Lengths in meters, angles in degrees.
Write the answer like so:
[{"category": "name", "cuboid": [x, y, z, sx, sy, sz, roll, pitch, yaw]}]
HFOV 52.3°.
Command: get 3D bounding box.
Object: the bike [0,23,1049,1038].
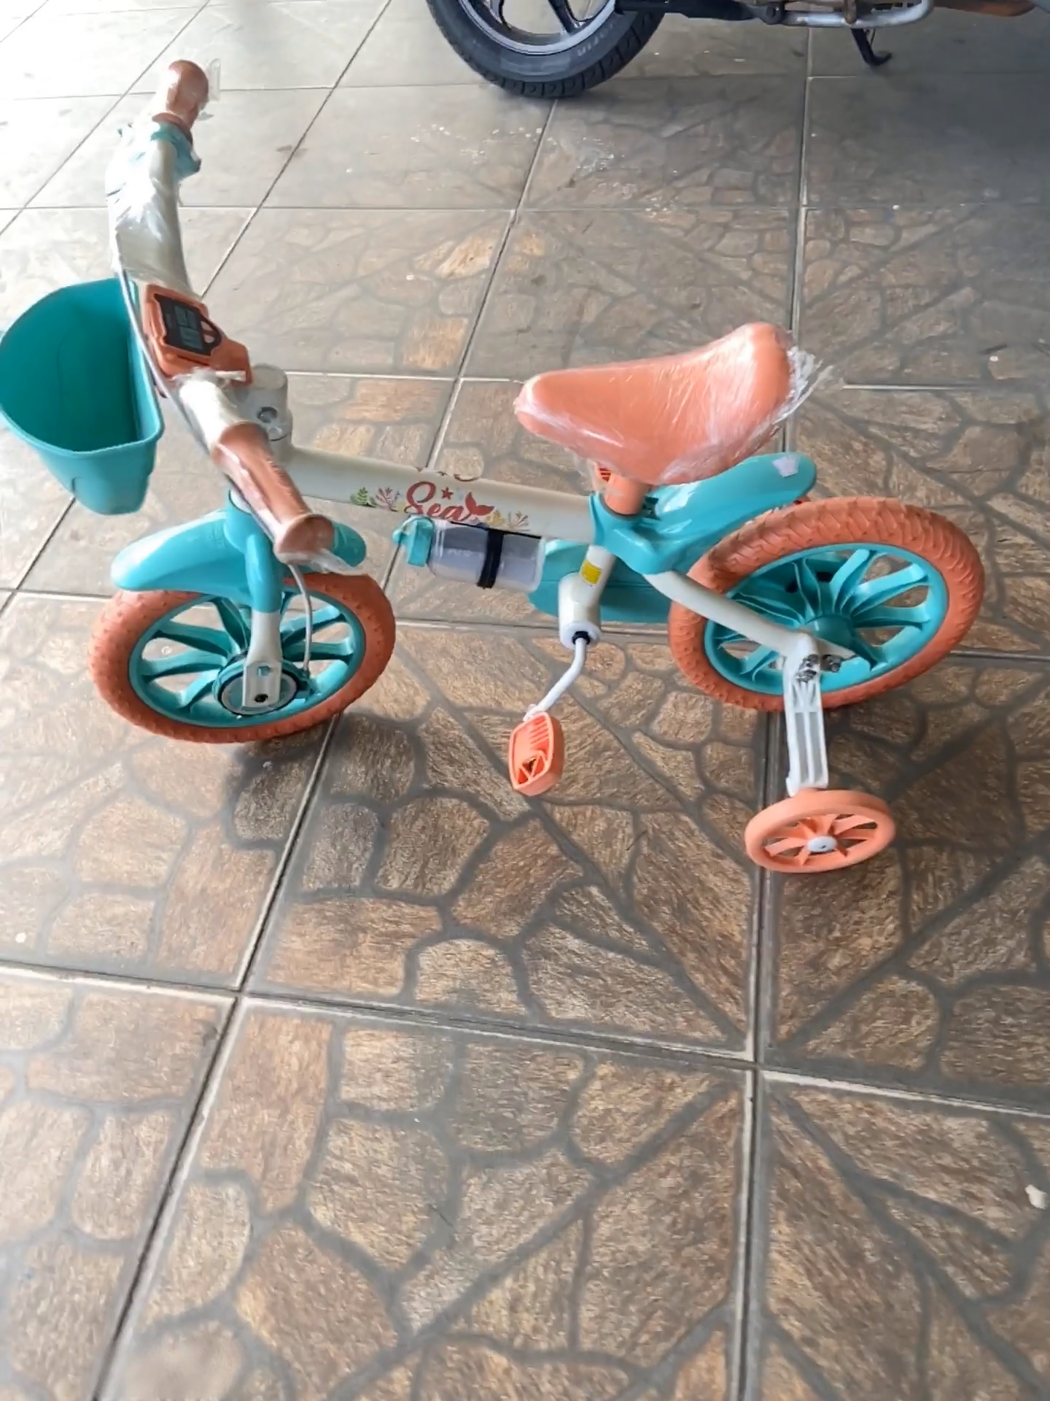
[{"category": "bike", "cuboid": [-0.001, -0.113, 0.864, 0.806, 0.535, 0.500, -5, 52, 0]}]
